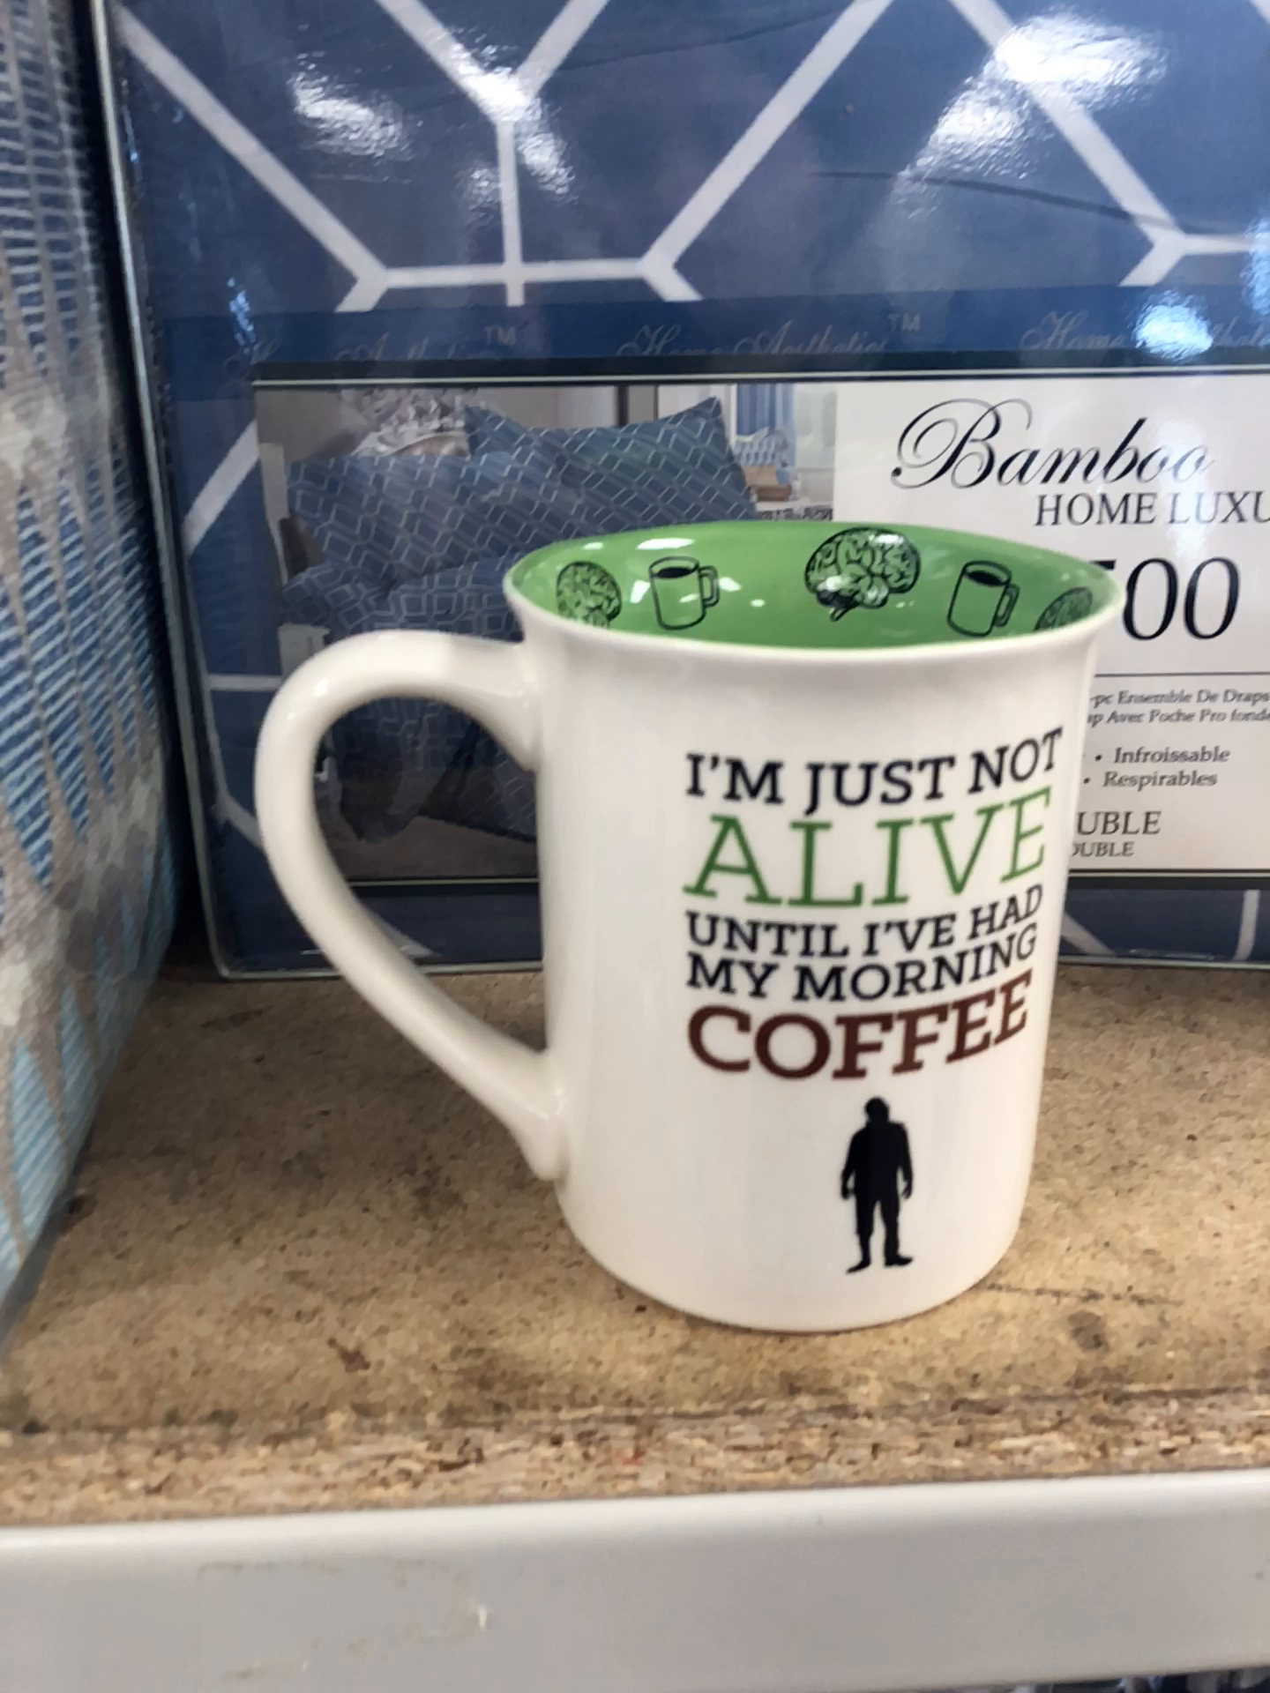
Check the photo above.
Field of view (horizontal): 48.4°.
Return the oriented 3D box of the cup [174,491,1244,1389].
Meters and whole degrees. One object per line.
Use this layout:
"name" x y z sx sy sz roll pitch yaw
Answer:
"cup" 0.009 0.008 0.251 0.138 0.124 0.100 -2 22 -2
